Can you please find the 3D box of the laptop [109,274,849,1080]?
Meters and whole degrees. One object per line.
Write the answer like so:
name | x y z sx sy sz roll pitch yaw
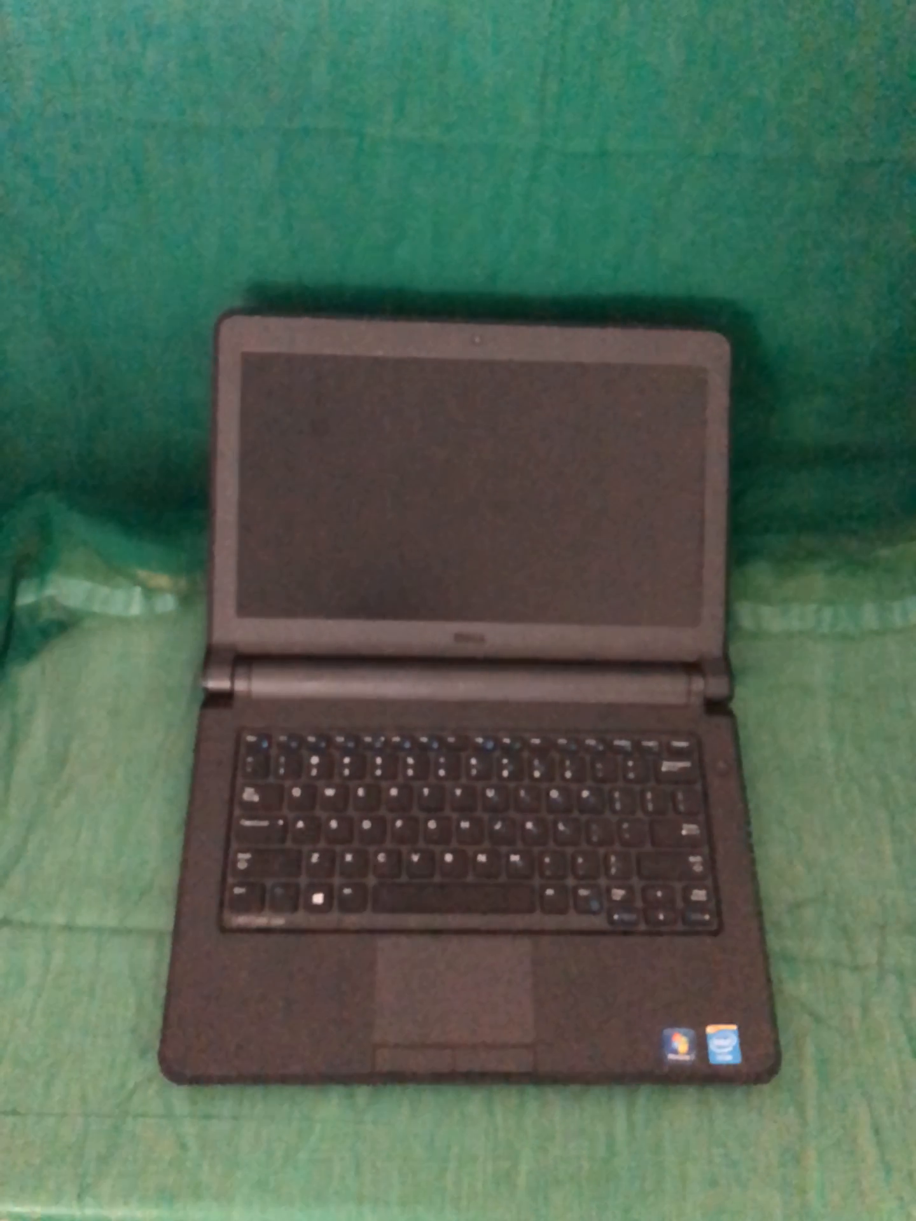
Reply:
laptop | 0.009 0.020 0.558 0.311 0.096 0.421 1 65 -2
